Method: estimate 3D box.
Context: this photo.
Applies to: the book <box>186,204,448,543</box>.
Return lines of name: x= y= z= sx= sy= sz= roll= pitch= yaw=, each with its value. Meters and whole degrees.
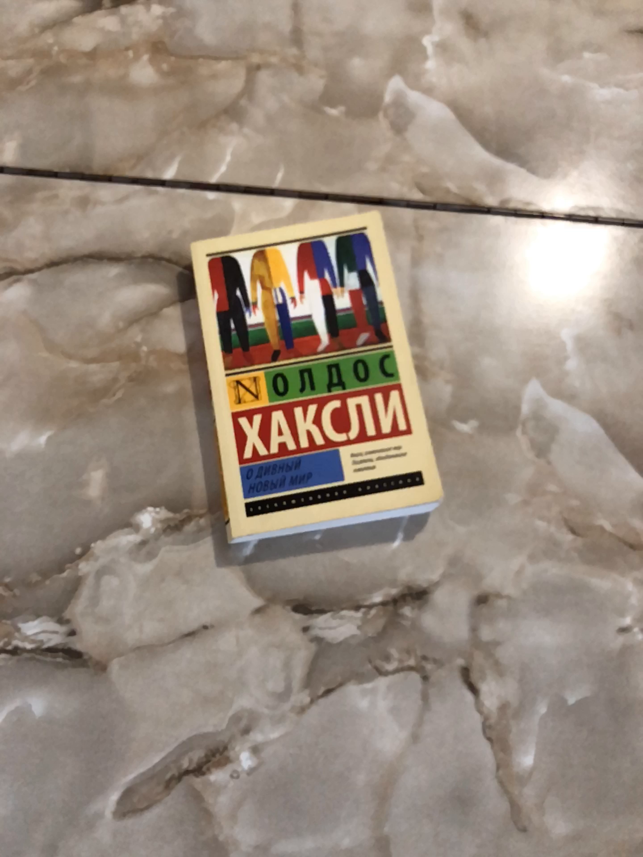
book: x=-0.007 y=-0.035 z=0.414 sx=0.120 sy=0.029 sz=0.184 roll=-8 pitch=74 yaw=-4
